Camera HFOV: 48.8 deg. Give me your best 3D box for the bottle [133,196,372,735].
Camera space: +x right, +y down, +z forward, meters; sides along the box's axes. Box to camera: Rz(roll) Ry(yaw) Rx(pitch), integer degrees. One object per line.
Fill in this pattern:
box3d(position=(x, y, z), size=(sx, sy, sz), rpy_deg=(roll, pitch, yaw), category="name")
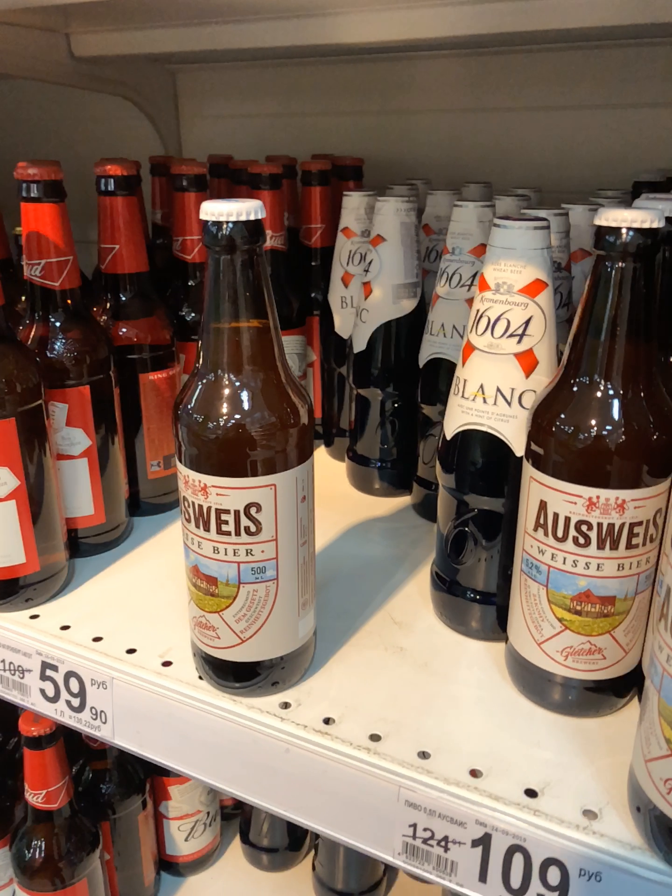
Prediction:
box3d(position=(-0.036, 0.007, 0.373), size=(0.080, 0.249, 0.070), rpy_deg=(16, 26, 37), category="bottle")
